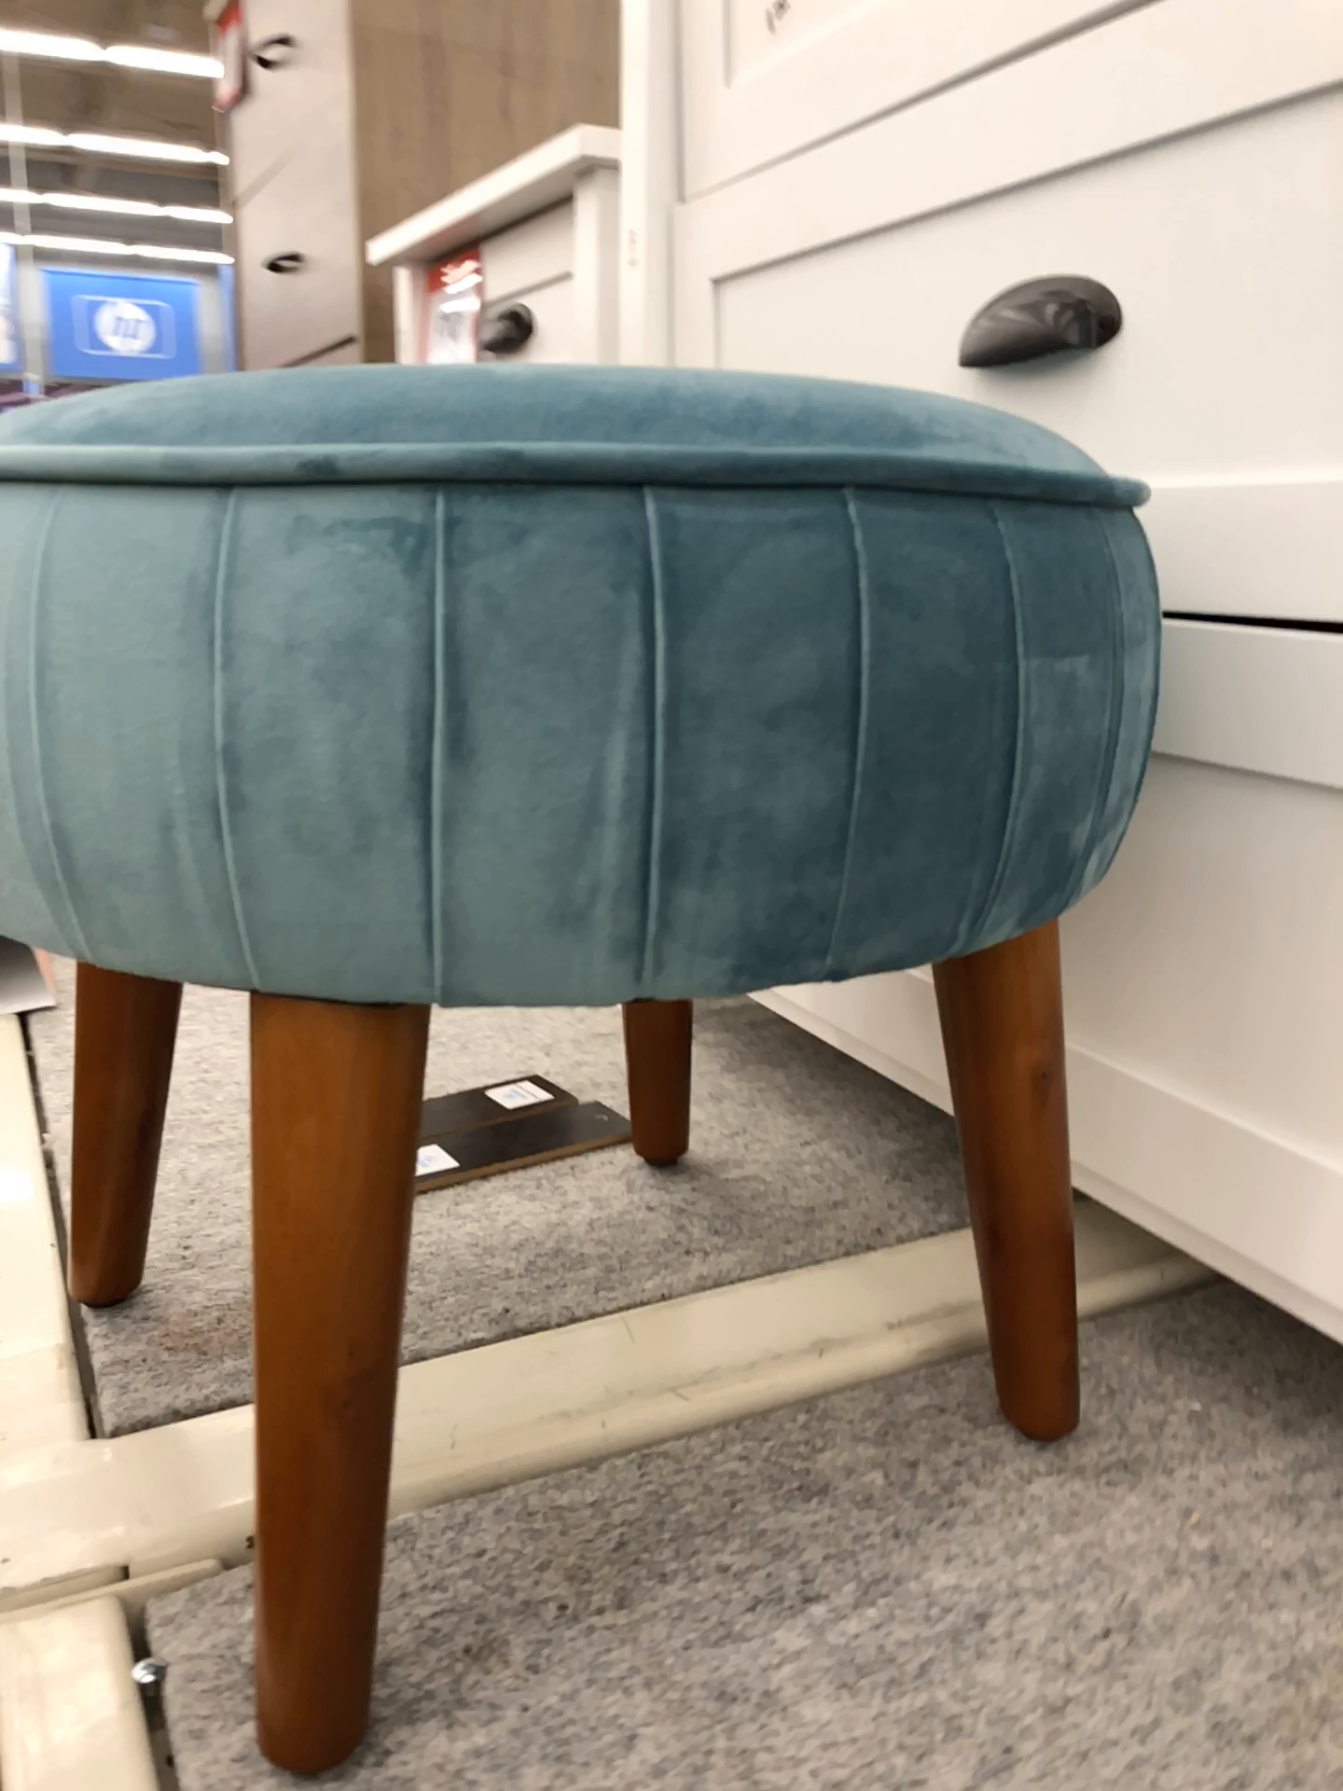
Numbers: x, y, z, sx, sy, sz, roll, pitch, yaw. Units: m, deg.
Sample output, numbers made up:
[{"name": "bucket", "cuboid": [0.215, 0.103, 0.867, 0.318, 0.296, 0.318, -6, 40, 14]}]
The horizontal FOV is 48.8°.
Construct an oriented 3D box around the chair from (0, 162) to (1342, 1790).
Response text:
[{"name": "chair", "cuboid": [-0.044, 0.003, 0.557, 0.370, 0.399, 0.371, -5, 15, -24]}]
